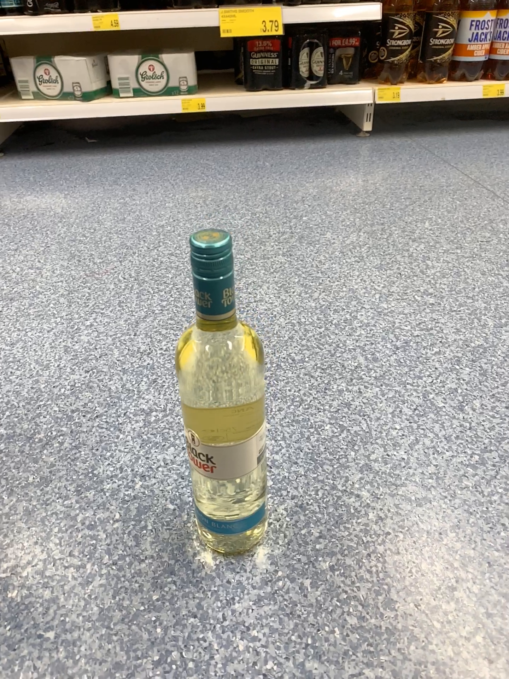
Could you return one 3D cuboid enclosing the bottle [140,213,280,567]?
[{"bbox_3d":[-0.027,0.058,0.440,0.071,0.305,0.065,-1,34,1],"label":"bottle"}]
